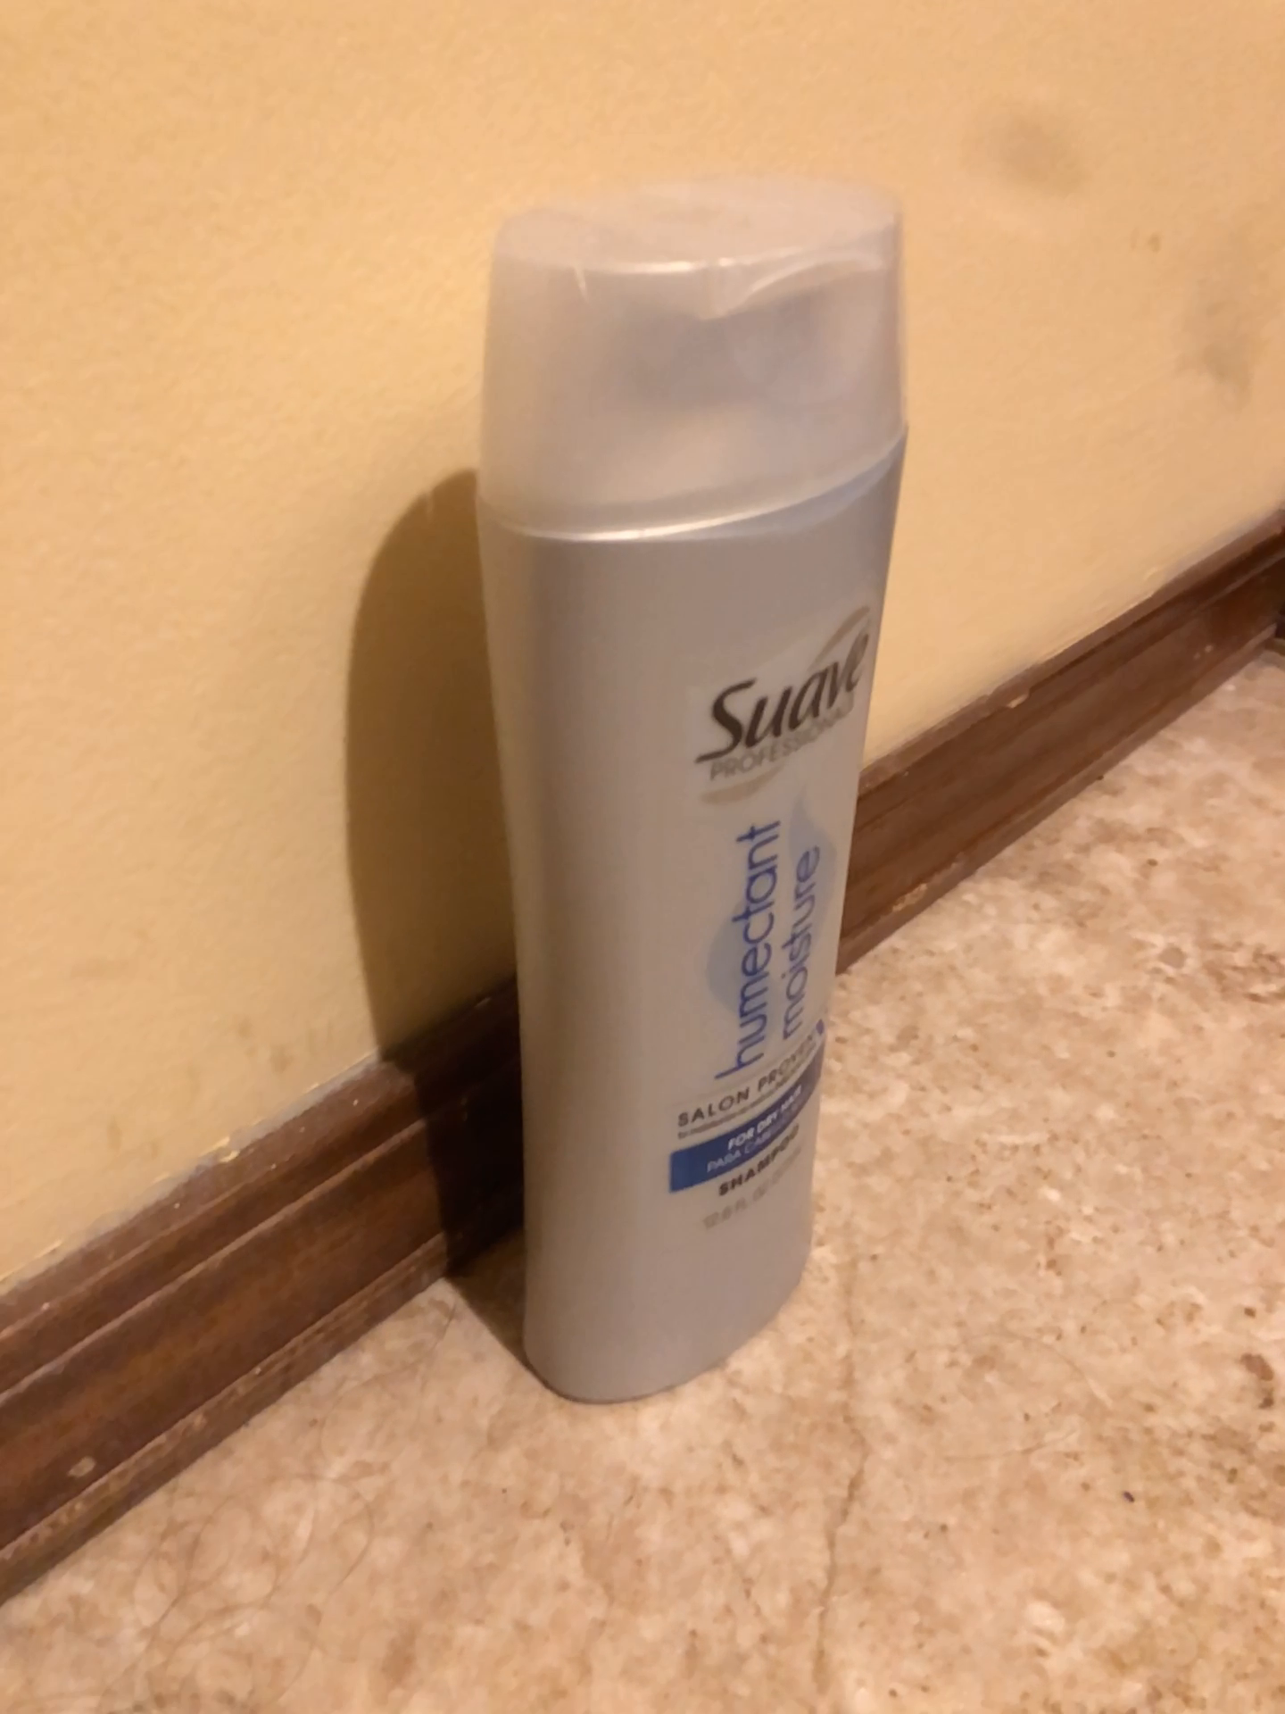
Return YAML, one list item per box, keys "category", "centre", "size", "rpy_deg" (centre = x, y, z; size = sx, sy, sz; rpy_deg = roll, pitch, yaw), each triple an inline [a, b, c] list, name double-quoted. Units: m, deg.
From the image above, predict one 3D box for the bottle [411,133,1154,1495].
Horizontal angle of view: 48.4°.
- category: "bottle"
  centre: [0.016, 0.005, 0.235]
  size: [0.080, 0.209, 0.050]
  rpy_deg: [-29, 47, -36]
